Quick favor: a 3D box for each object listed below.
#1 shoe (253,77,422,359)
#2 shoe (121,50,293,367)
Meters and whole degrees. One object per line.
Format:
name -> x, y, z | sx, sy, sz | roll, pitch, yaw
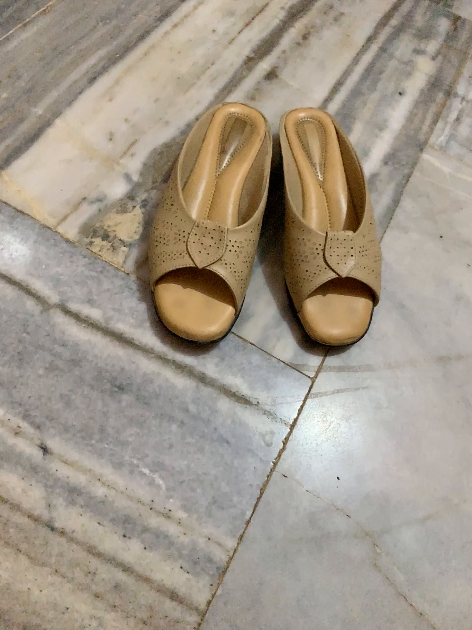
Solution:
shoe -> 0.079, -0.094, 0.446 | 0.095, 0.070, 0.260 | 1, 64, -11
shoe -> -0.017, -0.102, 0.424 | 0.095, 0.070, 0.273 | 12, 62, -5
